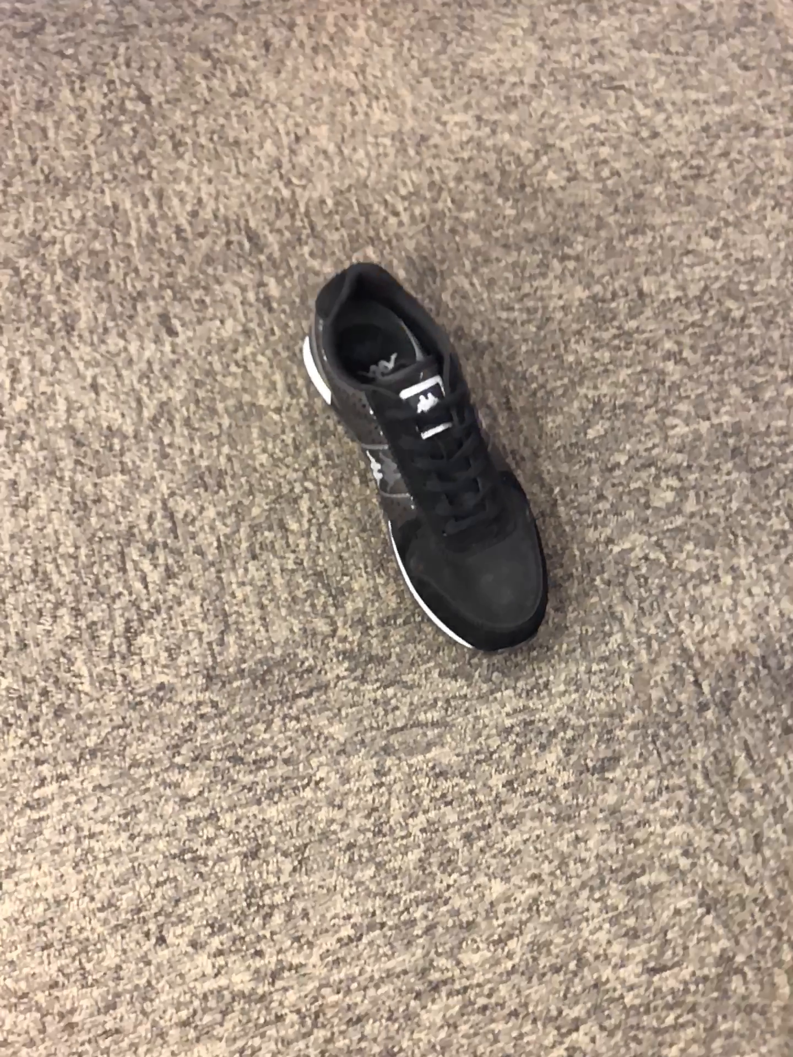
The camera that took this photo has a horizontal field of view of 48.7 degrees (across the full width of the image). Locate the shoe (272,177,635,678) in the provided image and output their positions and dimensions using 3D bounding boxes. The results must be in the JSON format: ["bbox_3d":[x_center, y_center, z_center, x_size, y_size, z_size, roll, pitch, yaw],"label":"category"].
[{"bbox_3d":[0.023,-0.059,0.535,0.100,0.090,0.274,-22,80,-13],"label":"shoe"}]
